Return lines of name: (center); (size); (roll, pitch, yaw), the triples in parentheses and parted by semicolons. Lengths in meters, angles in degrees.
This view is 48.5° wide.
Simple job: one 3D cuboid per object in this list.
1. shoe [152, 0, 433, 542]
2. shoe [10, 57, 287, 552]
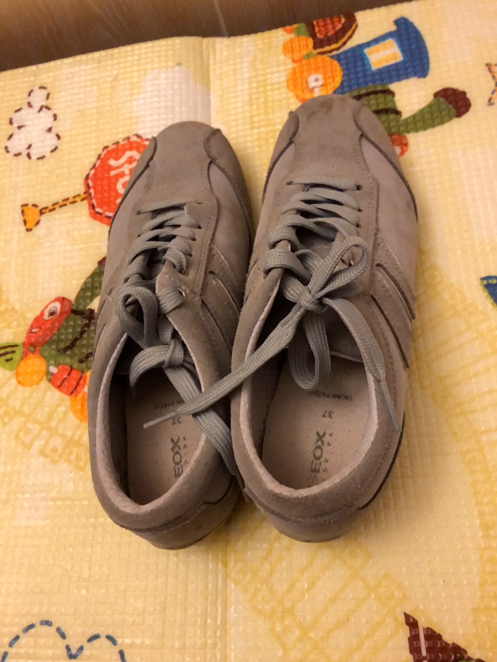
shoe: (0.037, -0.025, 0.270); (0.090, 0.120, 0.230); (2, 70, 14)
shoe: (-0.041, -0.006, 0.302); (0.090, 0.120, 0.230); (-7, 68, 11)
